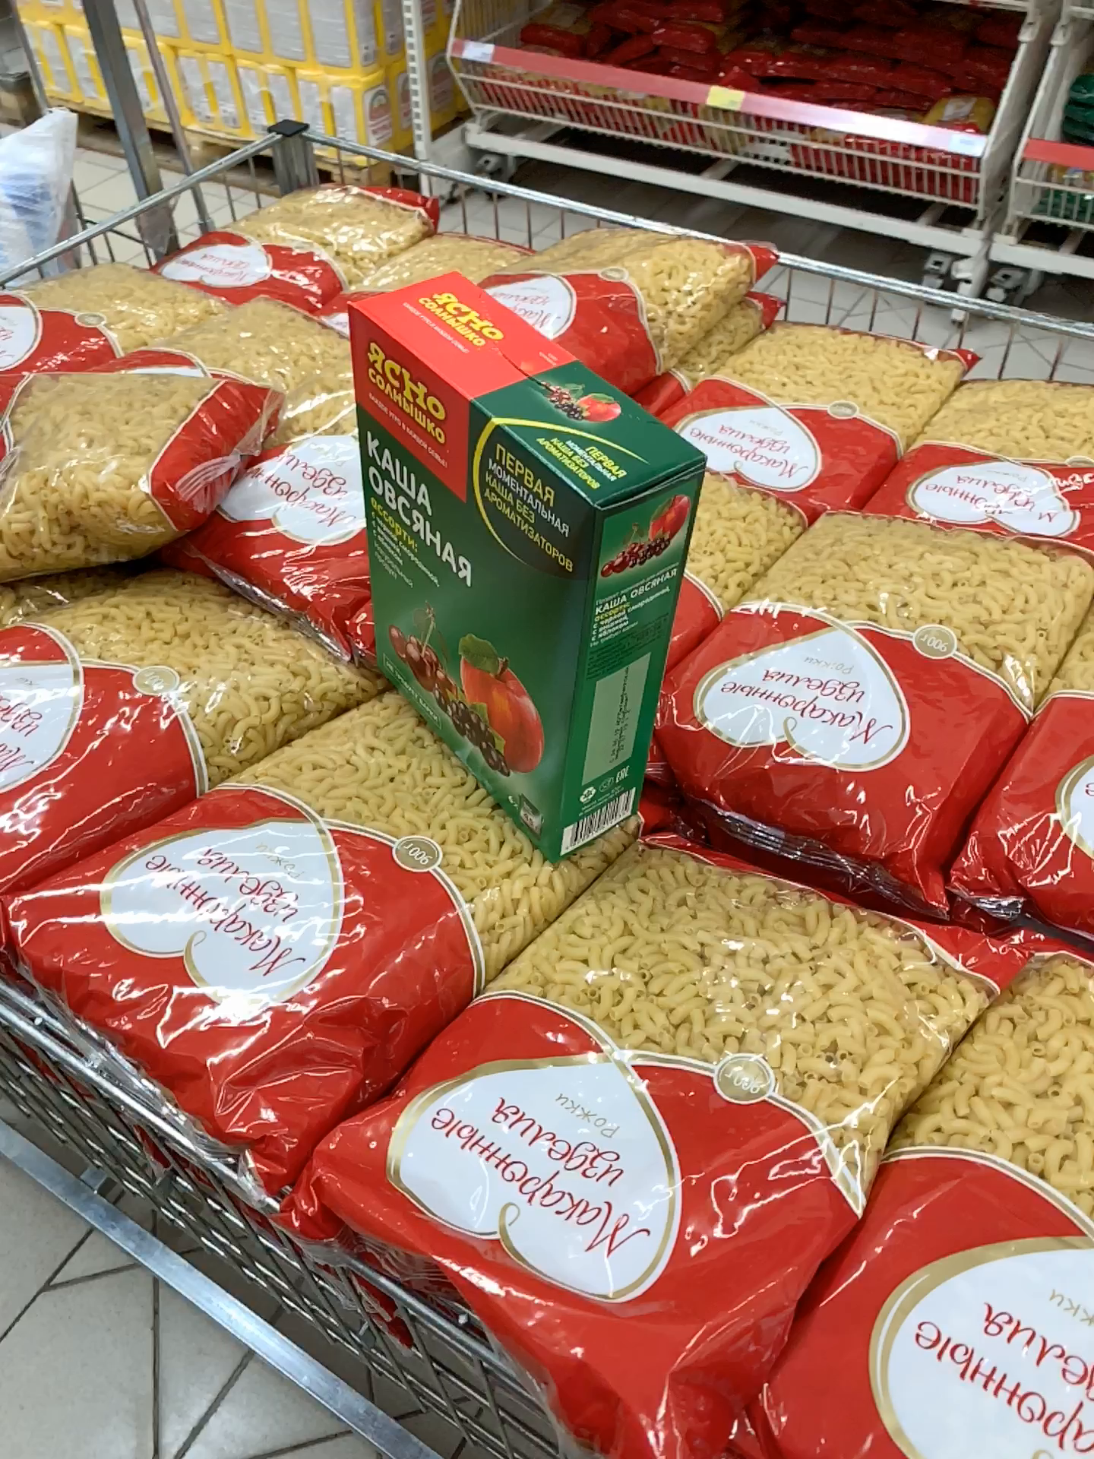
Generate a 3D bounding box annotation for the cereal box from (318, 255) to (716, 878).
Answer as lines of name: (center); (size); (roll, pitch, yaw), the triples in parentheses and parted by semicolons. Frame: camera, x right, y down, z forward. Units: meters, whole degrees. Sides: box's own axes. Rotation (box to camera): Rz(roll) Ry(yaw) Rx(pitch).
cereal box: (-0.023, -0.064, 0.473); (0.060, 0.198, 0.161); (-27, 55, -26)
